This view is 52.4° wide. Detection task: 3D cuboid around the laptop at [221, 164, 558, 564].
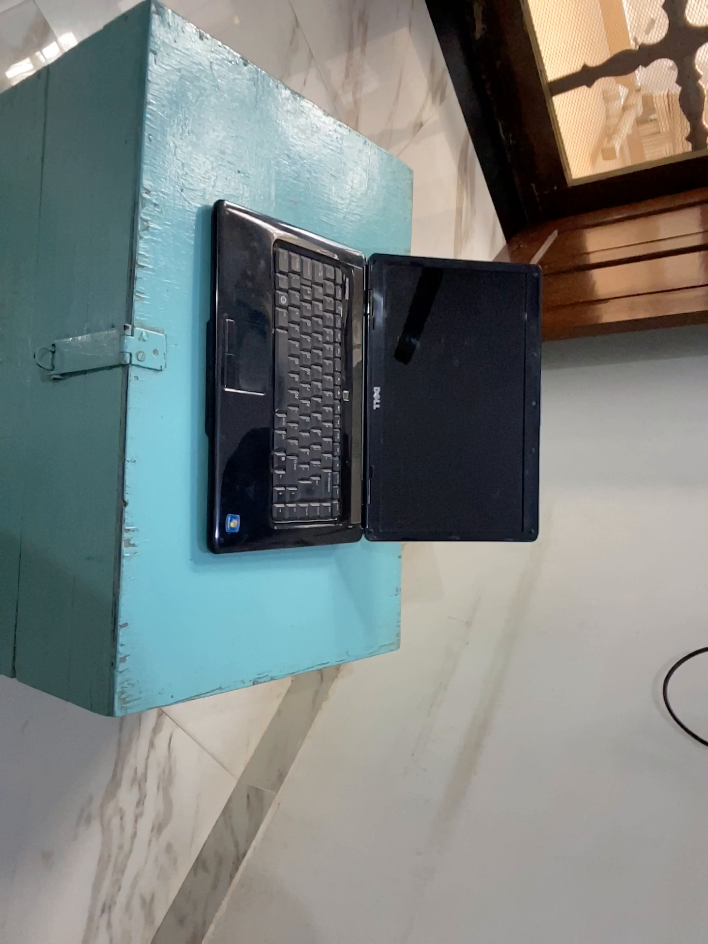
[{"bbox_3d":[0.068,-0.095,0.856,0.415,0.162,0.363,1,89,-49],"label":"laptop"}]
